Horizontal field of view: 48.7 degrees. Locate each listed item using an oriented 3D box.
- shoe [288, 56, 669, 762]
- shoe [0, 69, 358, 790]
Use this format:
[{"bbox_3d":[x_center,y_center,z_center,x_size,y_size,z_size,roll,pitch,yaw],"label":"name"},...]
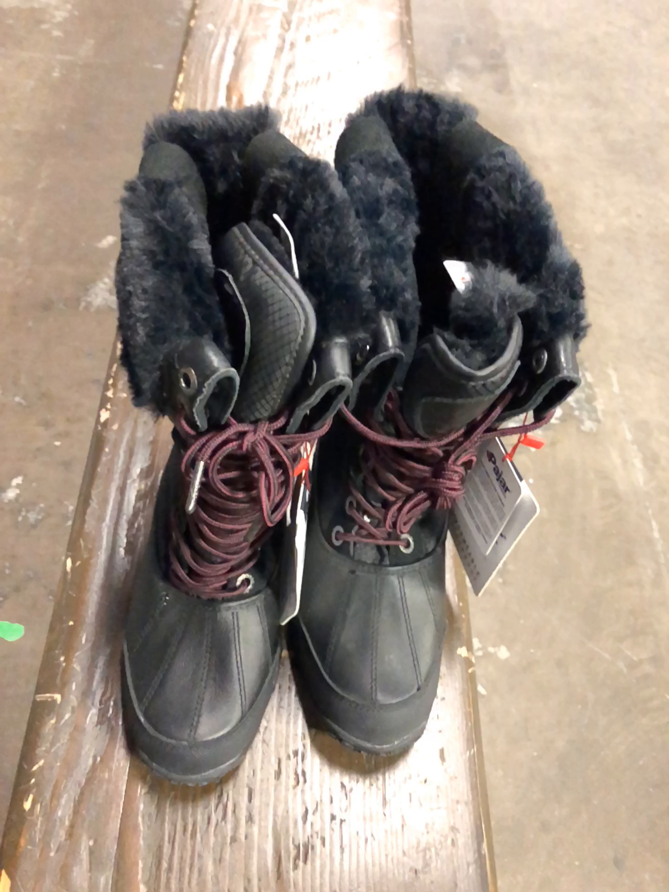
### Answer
[{"bbox_3d":[0.037,0.002,0.361,0.100,0.258,0.231,0,56,-7],"label":"shoe"},{"bbox_3d":[-0.064,0.014,0.343,0.100,0.258,0.221,0,56,-7],"label":"shoe"}]
